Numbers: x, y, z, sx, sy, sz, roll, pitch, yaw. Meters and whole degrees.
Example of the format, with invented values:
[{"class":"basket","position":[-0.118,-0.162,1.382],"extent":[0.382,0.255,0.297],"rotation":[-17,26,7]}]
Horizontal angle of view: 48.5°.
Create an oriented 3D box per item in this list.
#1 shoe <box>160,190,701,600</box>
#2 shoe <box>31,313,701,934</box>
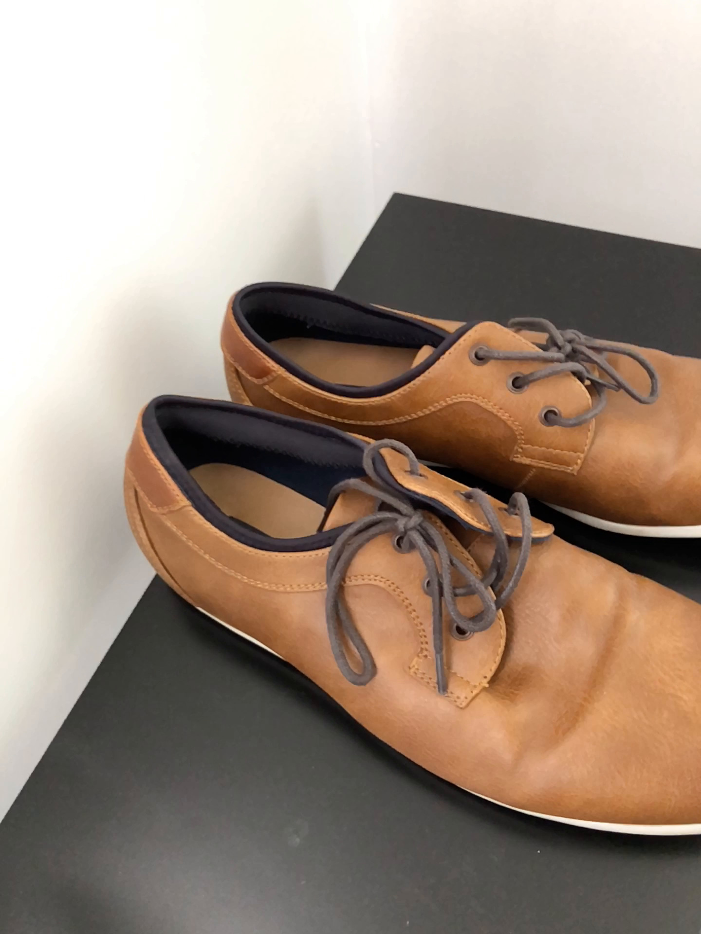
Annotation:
[{"class":"shoe","position":[0.074,-0.039,0.358],"extent":[0.280,0.100,0.104],"rotation":[11,56,14]},{"class":"shoe","position":[0.037,0.051,0.286],"extent":[0.271,0.100,0.104],"rotation":[22,59,20]}]
